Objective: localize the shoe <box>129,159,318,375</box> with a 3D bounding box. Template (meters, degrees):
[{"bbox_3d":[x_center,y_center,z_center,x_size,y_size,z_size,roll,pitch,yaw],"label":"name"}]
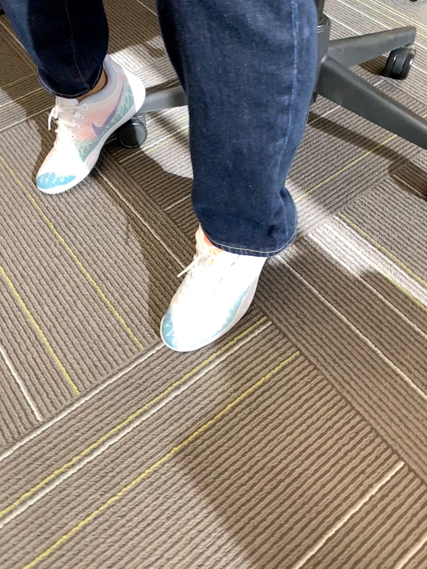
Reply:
[{"bbox_3d":[0.026,-0.028,0.682,0.113,0.109,0.310,34,77,20],"label":"shoe"}]

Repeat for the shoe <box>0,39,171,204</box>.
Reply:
[{"bbox_3d":[-0.236,-0.307,0.818,0.302,0.109,0.107,-44,67,-13],"label":"shoe"}]
